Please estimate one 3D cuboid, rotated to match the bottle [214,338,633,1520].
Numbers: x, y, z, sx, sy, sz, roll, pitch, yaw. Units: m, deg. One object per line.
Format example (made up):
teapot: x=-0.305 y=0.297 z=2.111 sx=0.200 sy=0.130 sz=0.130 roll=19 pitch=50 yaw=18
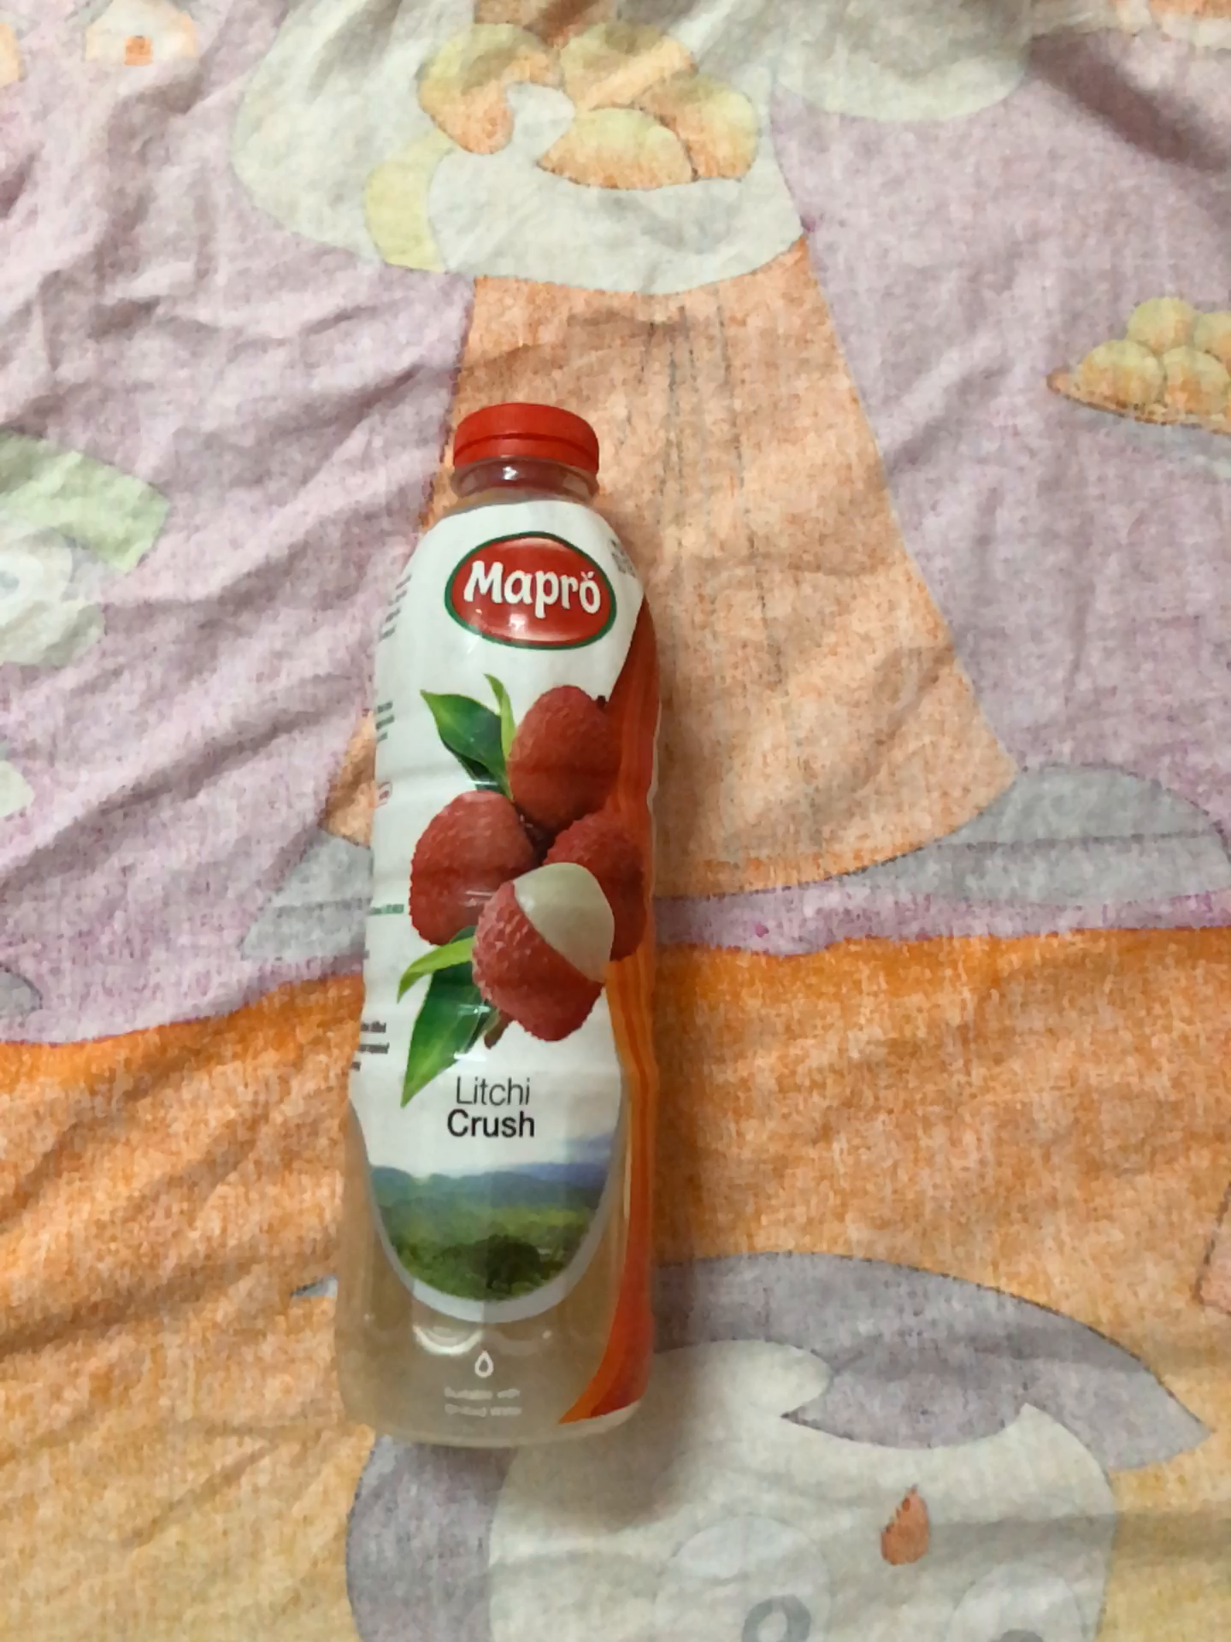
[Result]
bottle: x=-0.040 y=0.021 z=0.336 sx=0.080 sy=0.070 sz=0.260 roll=2 pitch=81 yaw=-1
